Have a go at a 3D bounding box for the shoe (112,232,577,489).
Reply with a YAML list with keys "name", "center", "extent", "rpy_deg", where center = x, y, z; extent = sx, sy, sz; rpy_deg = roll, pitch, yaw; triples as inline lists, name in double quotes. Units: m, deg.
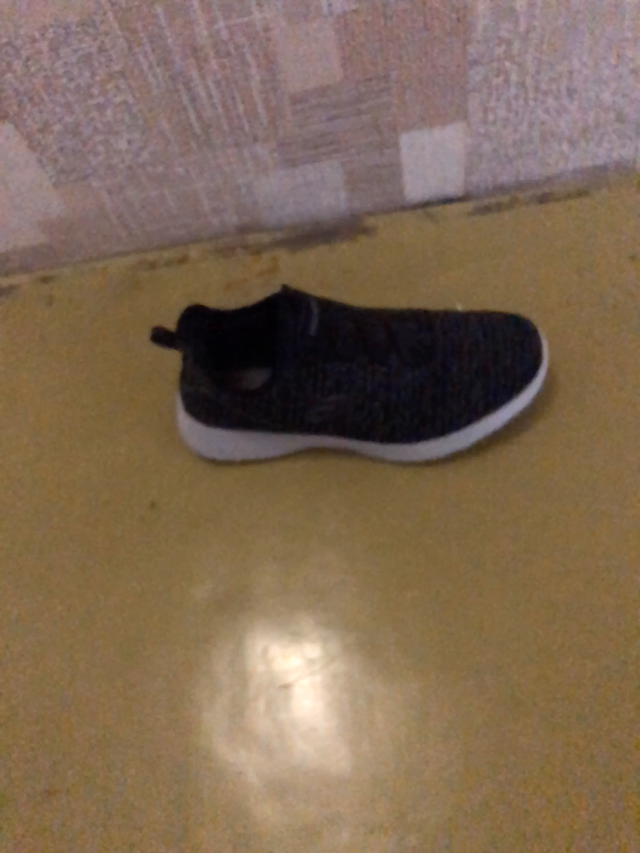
- name: "shoe"
  center: [0.019, -0.045, 0.573]
  extent: [0.320, 0.120, 0.130]
  rpy_deg: [-5, 60, 8]
